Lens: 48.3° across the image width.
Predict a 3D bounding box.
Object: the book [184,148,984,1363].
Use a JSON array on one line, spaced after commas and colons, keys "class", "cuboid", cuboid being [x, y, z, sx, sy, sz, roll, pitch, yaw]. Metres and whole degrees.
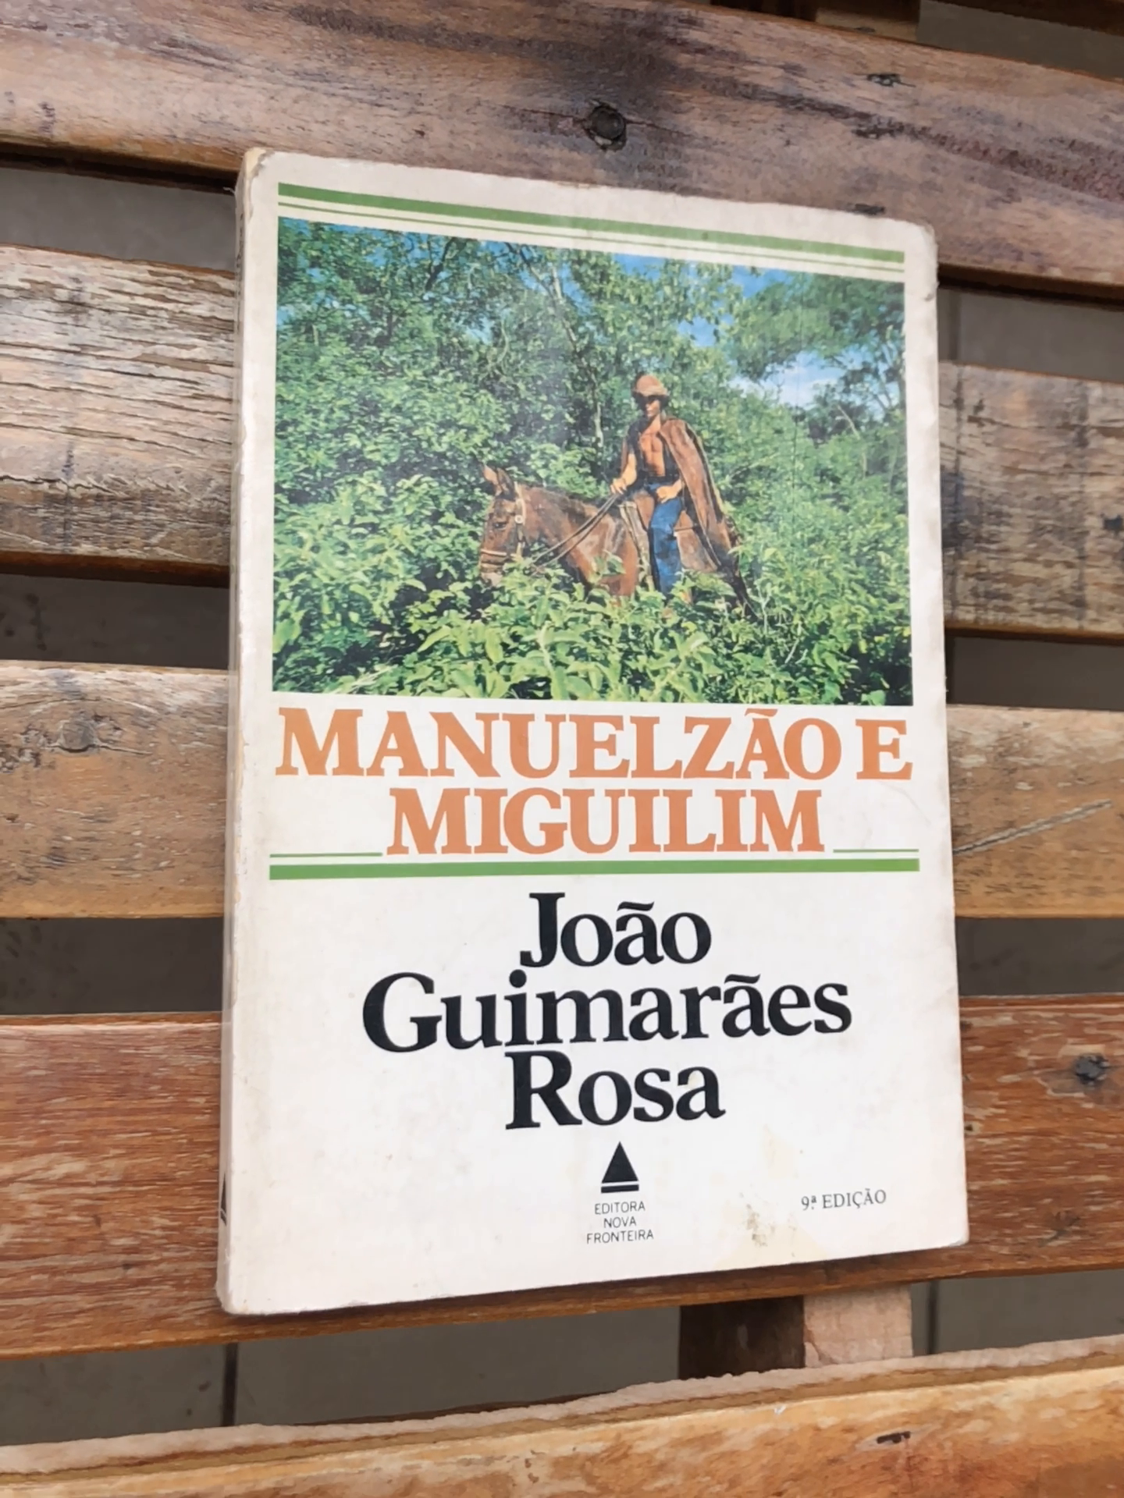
[{"class": "book", "cuboid": [0.004, -0.003, 0.233, 0.141, 0.020, 0.200, 0, 85, -14]}]
